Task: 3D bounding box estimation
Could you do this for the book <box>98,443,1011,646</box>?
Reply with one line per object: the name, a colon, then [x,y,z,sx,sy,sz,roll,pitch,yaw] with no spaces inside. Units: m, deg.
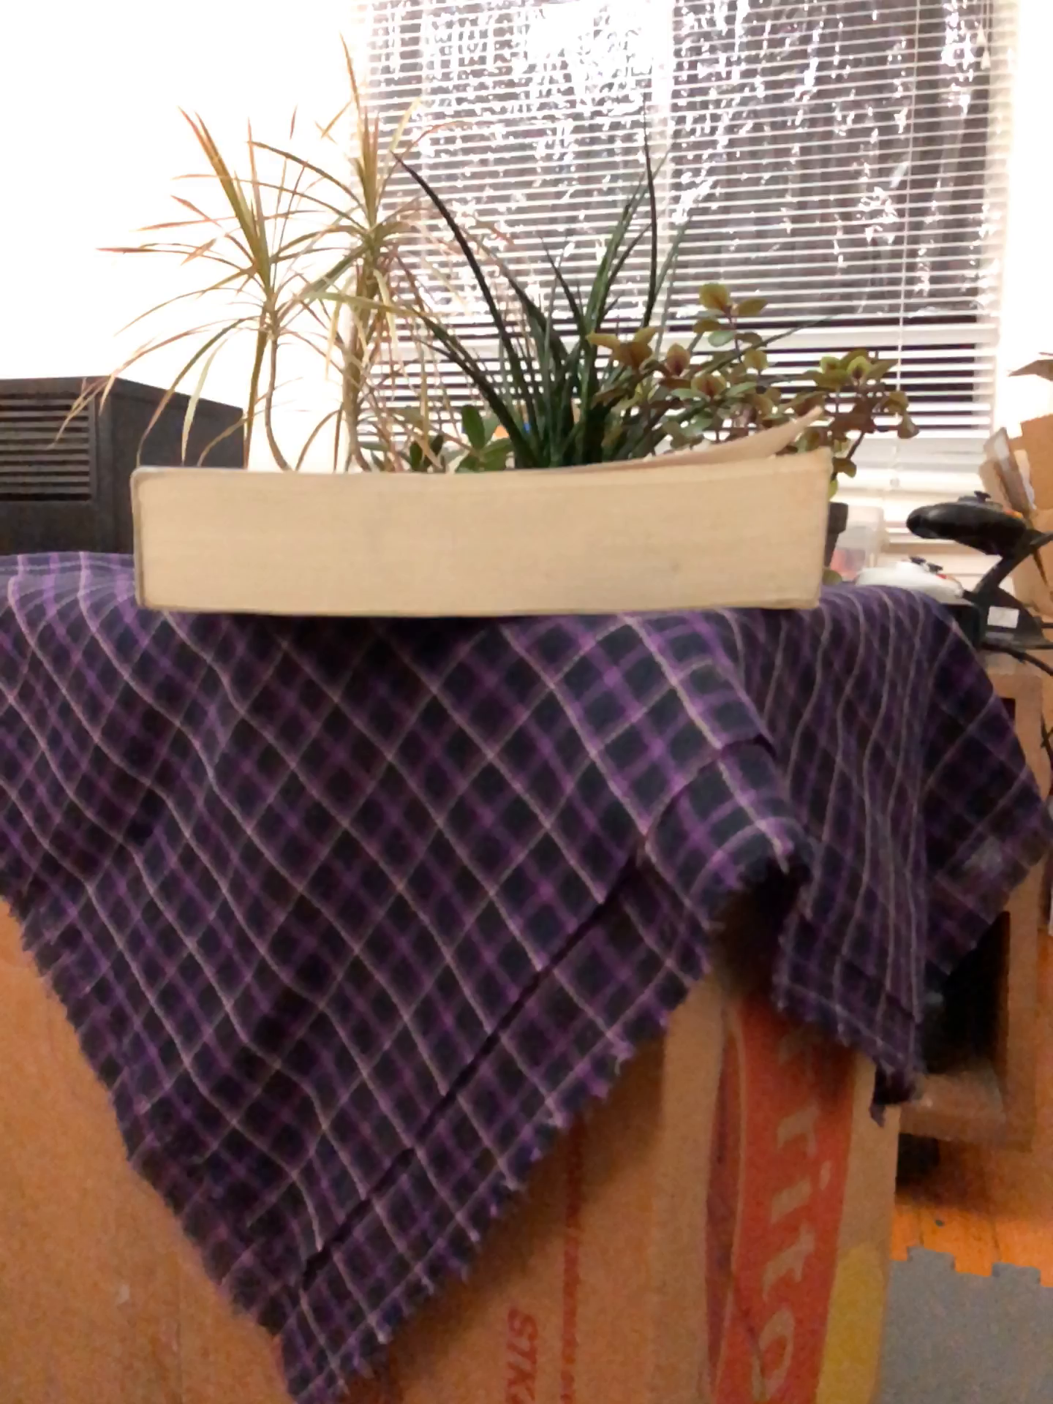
book: [-0.007,-0.048,0.381,0.200,0.040,0.260,0,6,-8]
